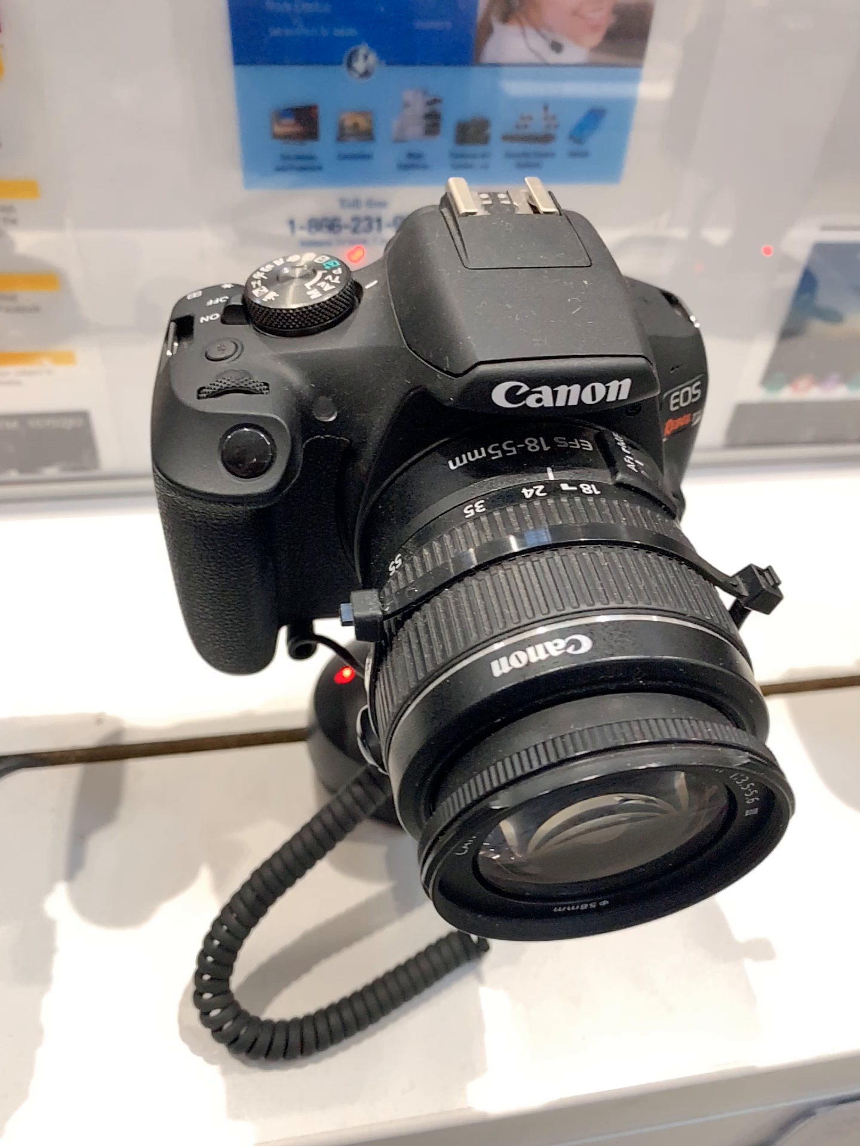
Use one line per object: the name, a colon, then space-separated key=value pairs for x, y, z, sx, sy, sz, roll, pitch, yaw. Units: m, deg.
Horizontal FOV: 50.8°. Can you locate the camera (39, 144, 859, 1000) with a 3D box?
camera: x=0.009 y=-0.014 z=0.183 sx=0.130 sy=0.089 sz=0.141 roll=-4 pitch=45 yaw=-10
